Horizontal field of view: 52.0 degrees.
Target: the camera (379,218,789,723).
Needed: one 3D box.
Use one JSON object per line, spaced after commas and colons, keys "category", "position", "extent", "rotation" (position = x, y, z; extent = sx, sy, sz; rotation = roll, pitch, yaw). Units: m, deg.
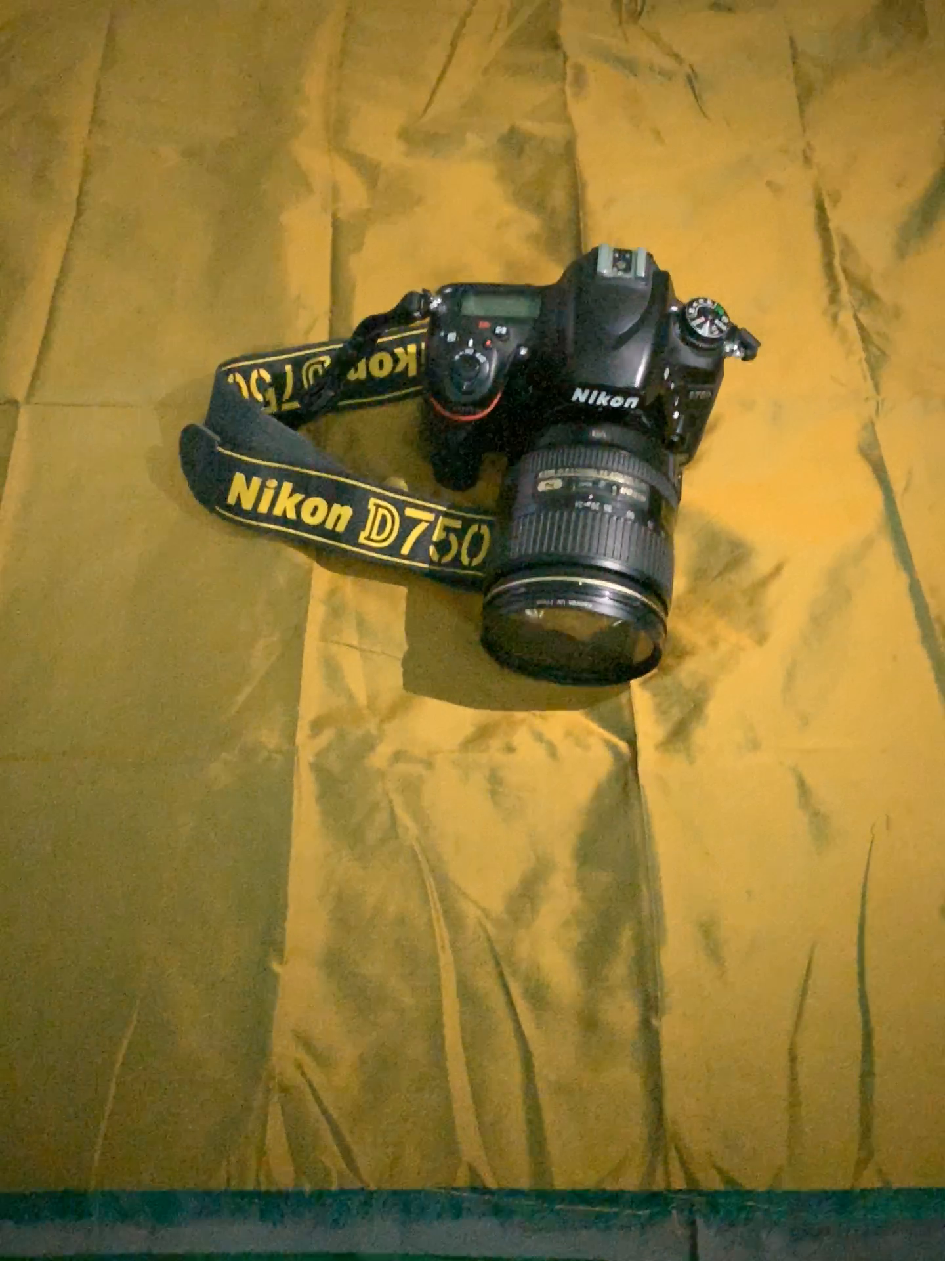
{"category": "camera", "position": [0.050, -0.073, 0.442], "extent": [0.150, 0.101, 0.190], "rotation": [6, 64, 2]}
